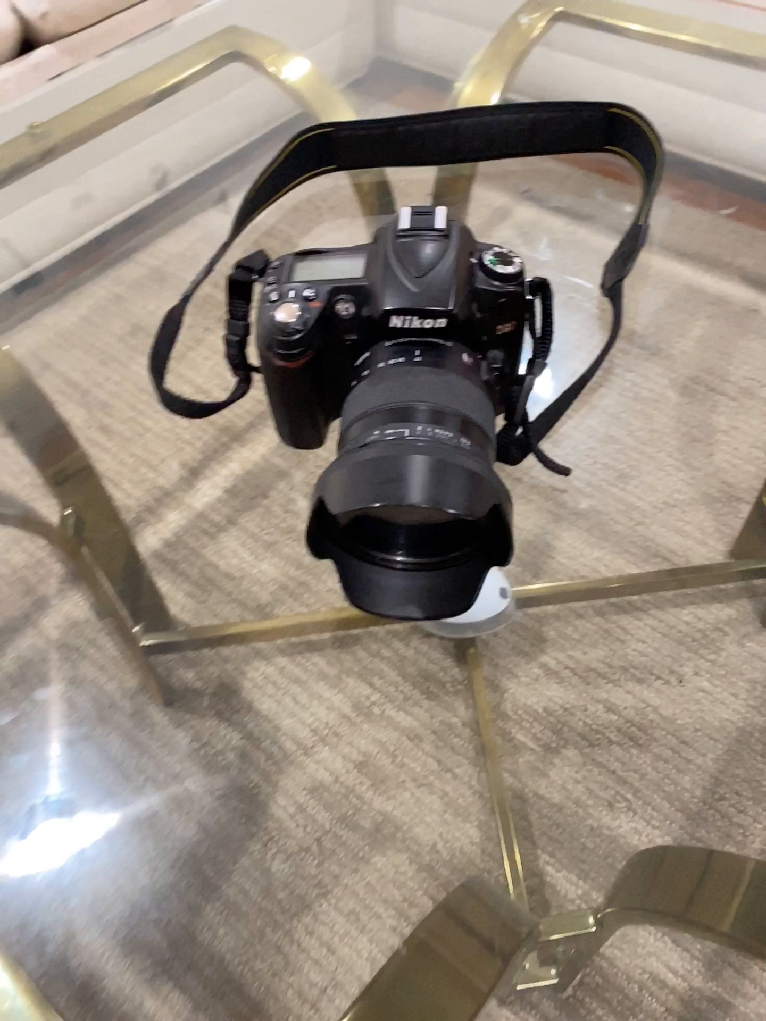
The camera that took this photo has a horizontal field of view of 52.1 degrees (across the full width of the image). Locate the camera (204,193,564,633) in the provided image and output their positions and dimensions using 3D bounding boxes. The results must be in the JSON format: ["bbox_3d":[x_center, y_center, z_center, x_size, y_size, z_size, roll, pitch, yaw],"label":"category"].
[{"bbox_3d":[0.006,-0.049,0.385,0.130,0.120,0.181,0,52,4],"label":"camera"}]
